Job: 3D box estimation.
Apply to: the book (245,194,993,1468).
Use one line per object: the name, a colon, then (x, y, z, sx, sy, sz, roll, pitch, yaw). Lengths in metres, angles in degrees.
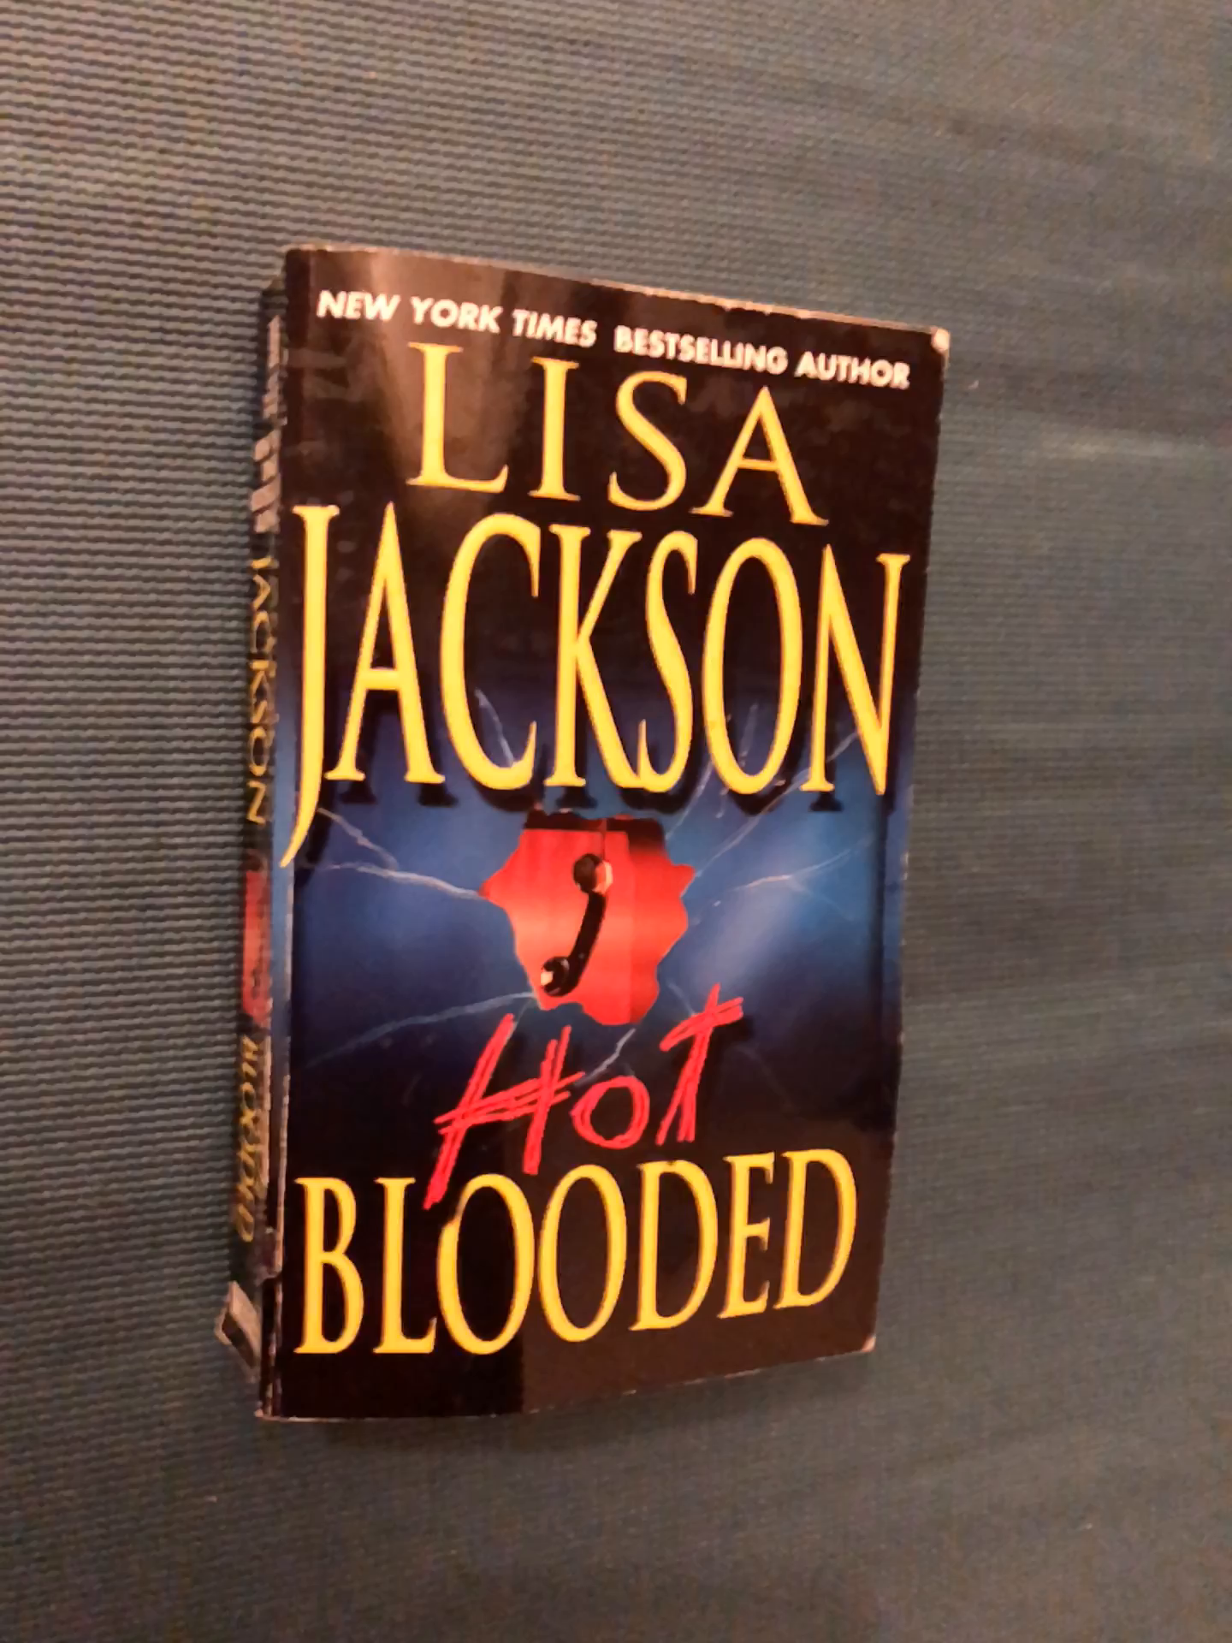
book: (-0.002, 0.004, 0.217, 0.103, 0.040, 0.171, 1, 94, -16)
